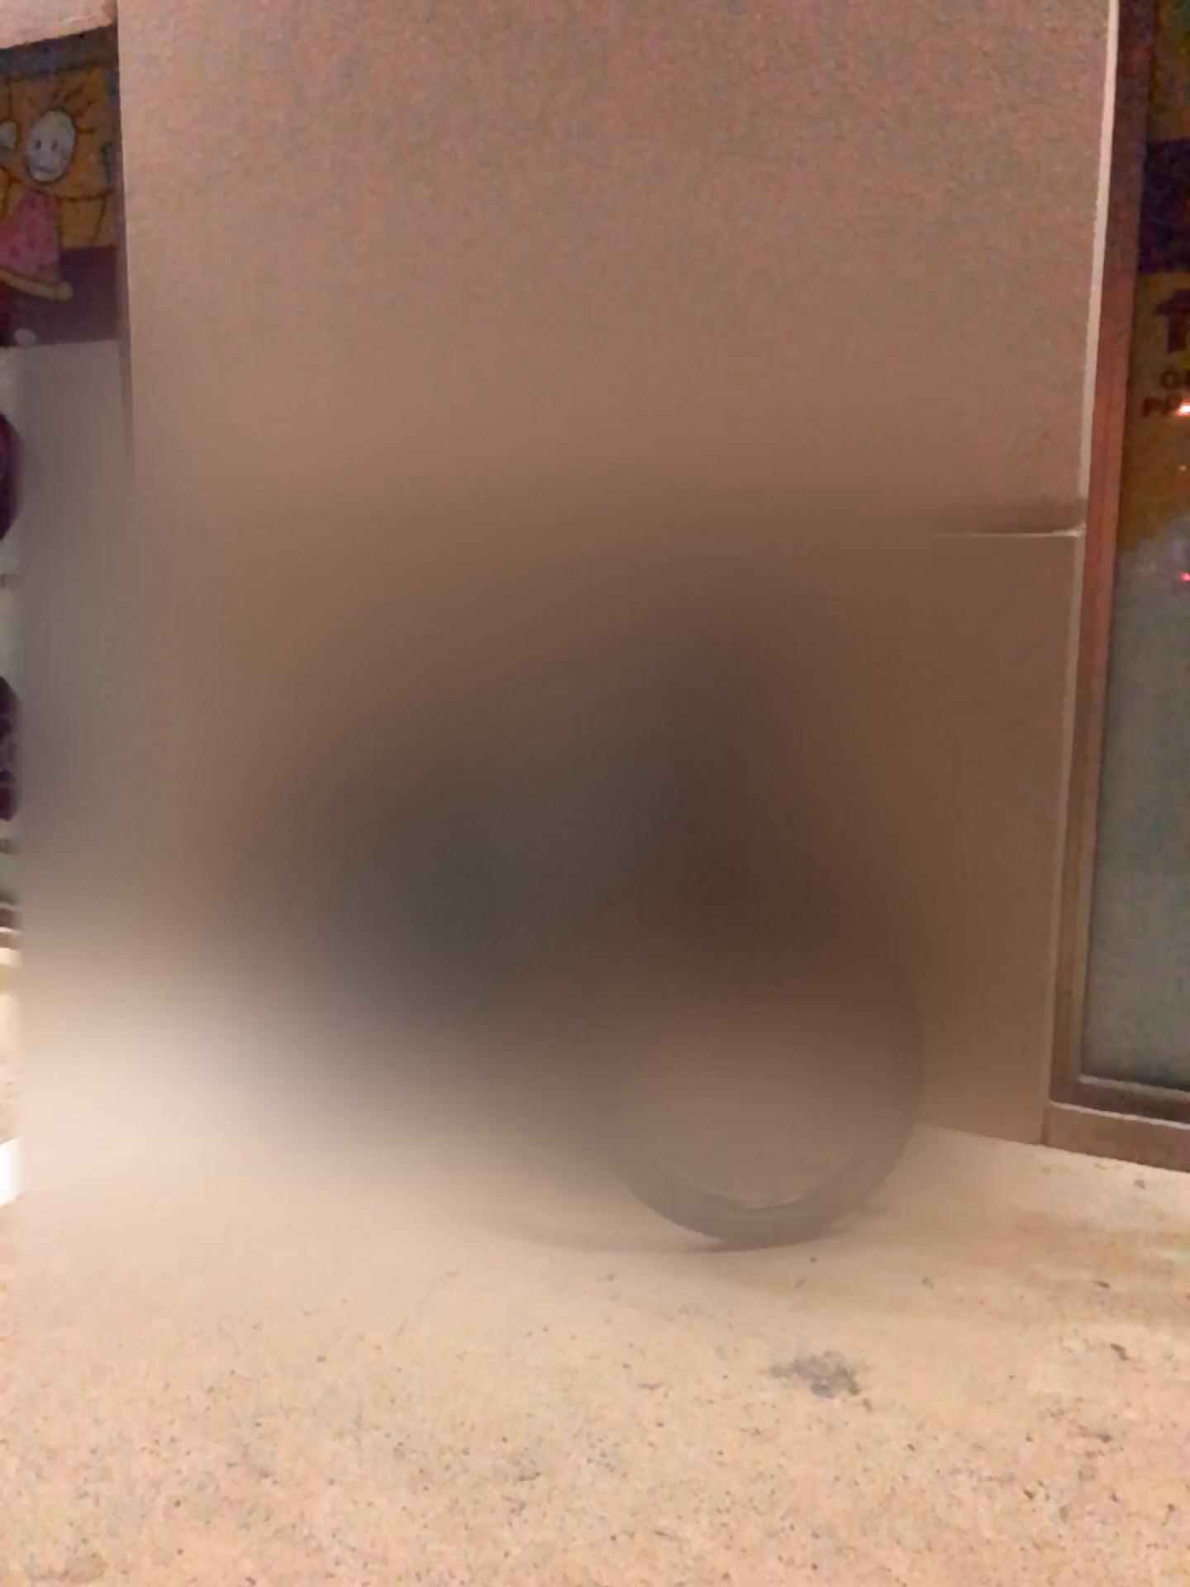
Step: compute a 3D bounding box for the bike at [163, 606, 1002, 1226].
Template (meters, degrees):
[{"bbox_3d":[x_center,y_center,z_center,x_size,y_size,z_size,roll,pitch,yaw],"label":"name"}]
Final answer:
[{"bbox_3d":[-0.068,0.141,2.818,1.603,1.066,0.588,5,9,27],"label":"bike"}]
